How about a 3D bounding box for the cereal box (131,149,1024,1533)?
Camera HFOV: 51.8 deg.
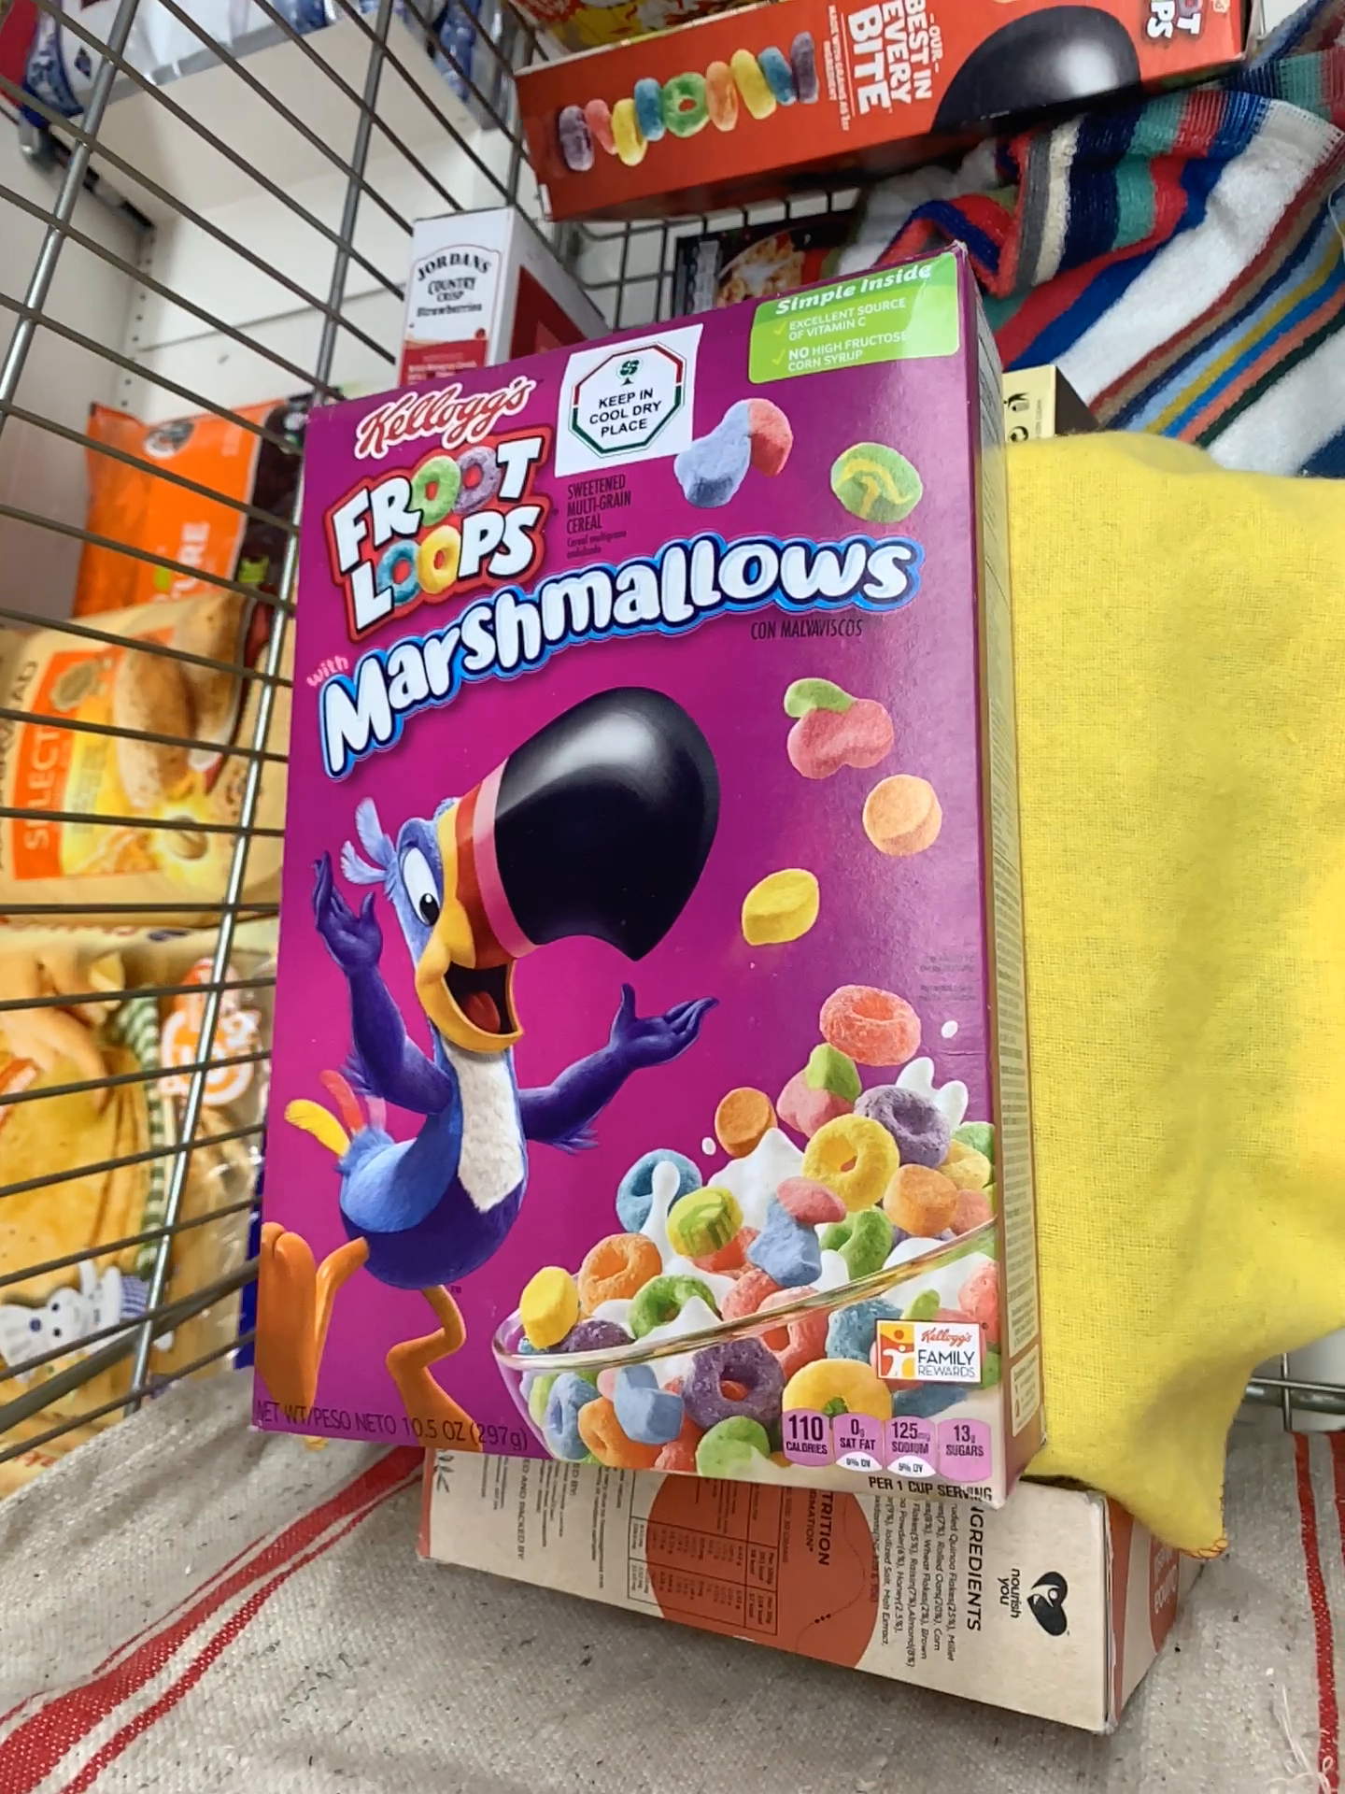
[{"bbox_3d":[-0.022,-0.011,0.334,0.191,0.070,0.270,-3,80,23],"label":"cereal box"}]
